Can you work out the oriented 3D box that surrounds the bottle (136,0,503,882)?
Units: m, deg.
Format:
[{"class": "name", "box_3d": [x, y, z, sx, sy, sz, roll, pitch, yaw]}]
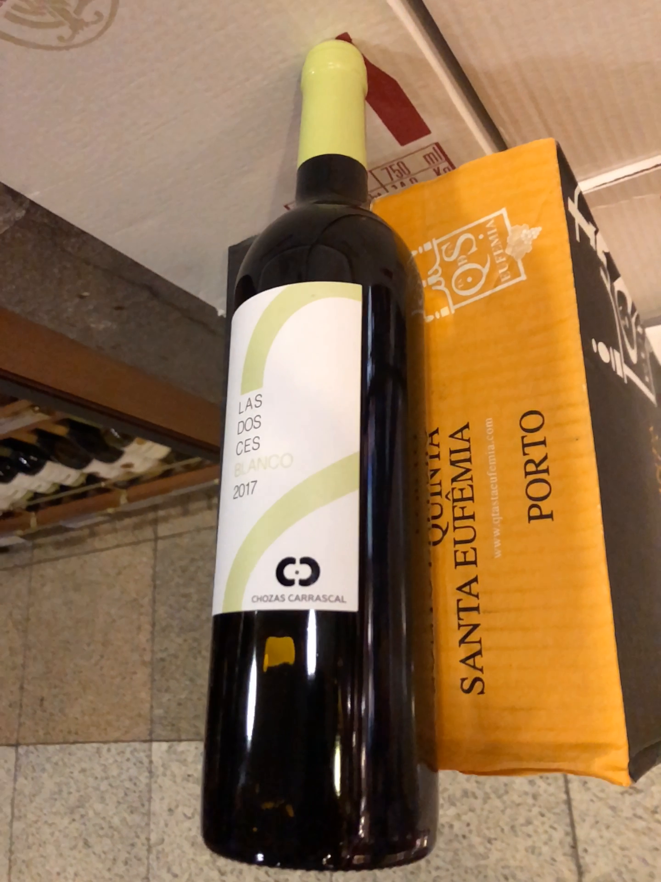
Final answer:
[{"class": "bottle", "box_3d": [-0.004, -0.028, 0.270, 0.090, 0.070, 0.320, -10, 72, 30]}]
